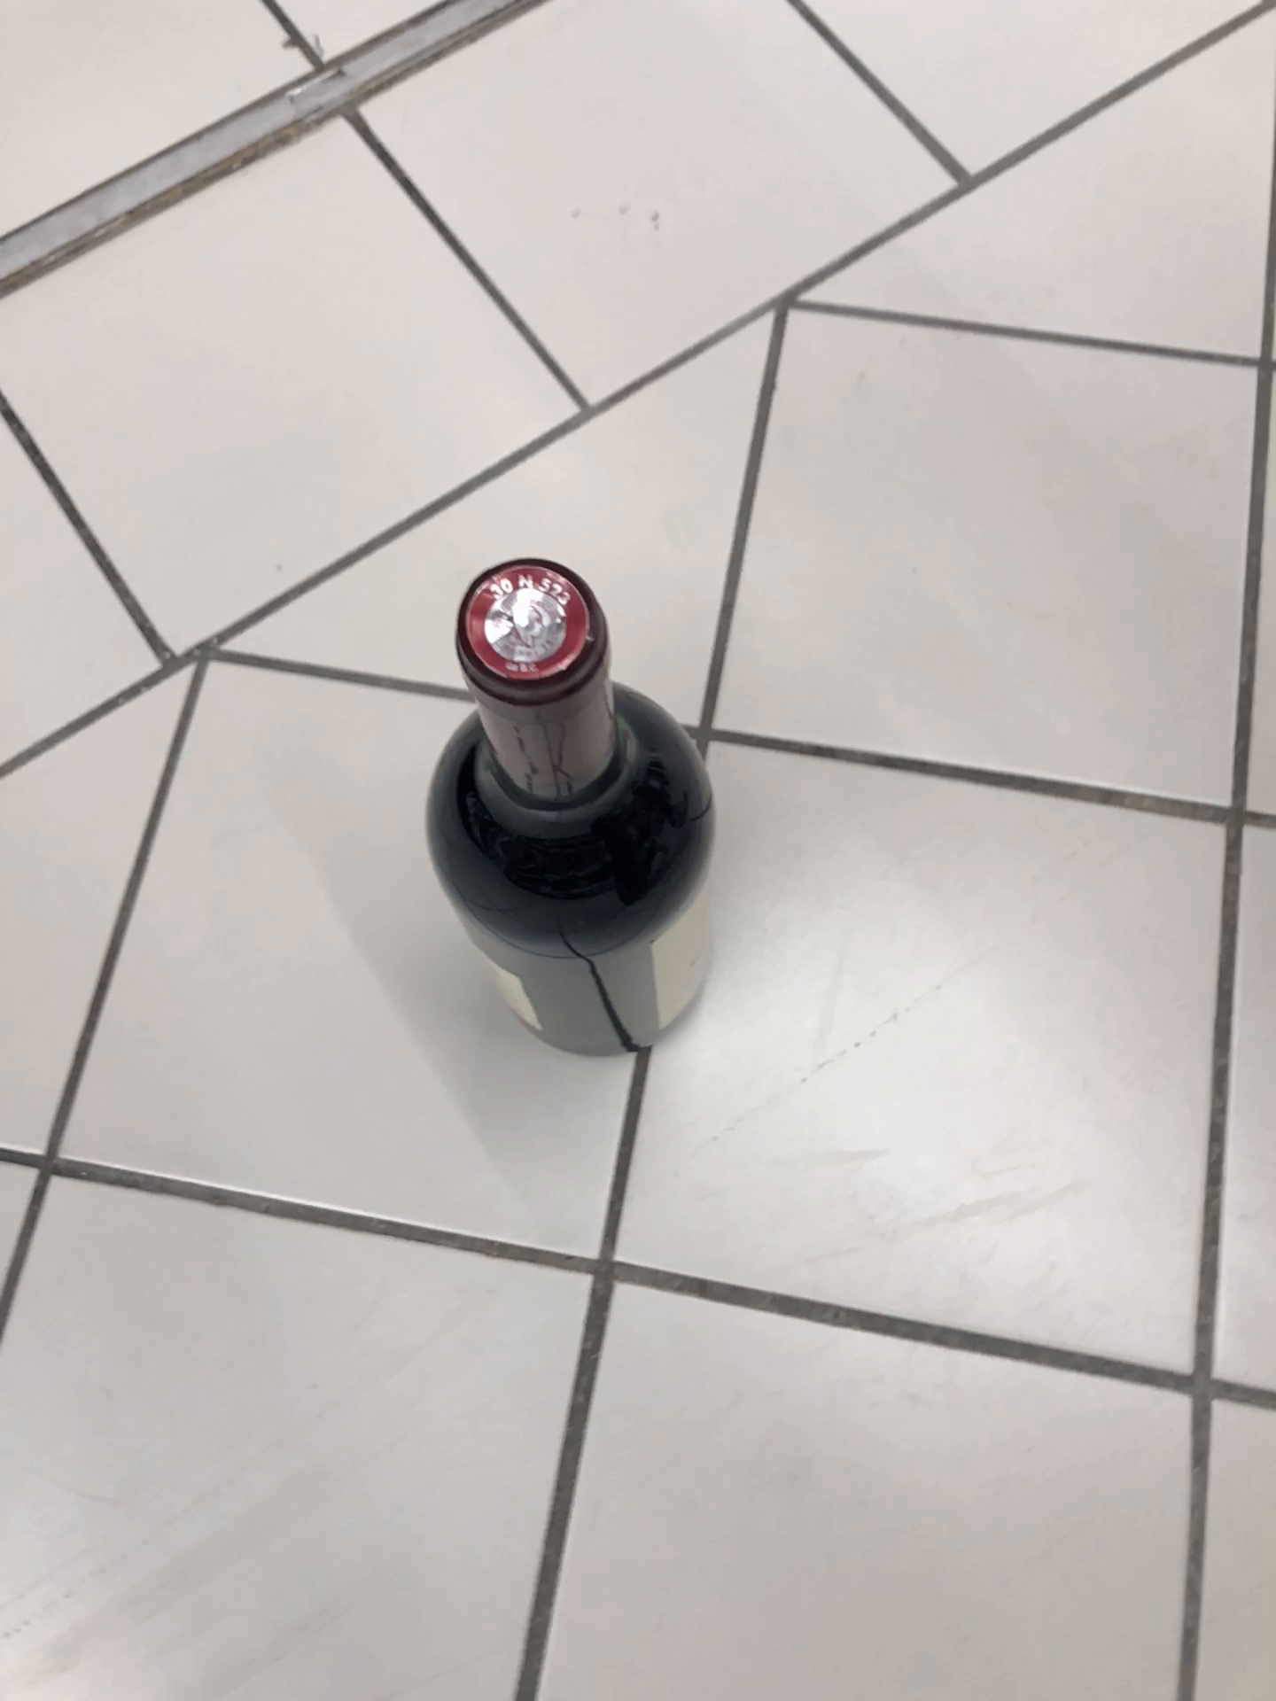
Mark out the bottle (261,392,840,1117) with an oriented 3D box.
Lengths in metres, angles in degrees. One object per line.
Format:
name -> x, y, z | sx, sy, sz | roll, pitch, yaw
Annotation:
bottle -> -0.014, 0.001, 0.374 | 0.090, 0.249, 0.090 | -1, 72, 2
